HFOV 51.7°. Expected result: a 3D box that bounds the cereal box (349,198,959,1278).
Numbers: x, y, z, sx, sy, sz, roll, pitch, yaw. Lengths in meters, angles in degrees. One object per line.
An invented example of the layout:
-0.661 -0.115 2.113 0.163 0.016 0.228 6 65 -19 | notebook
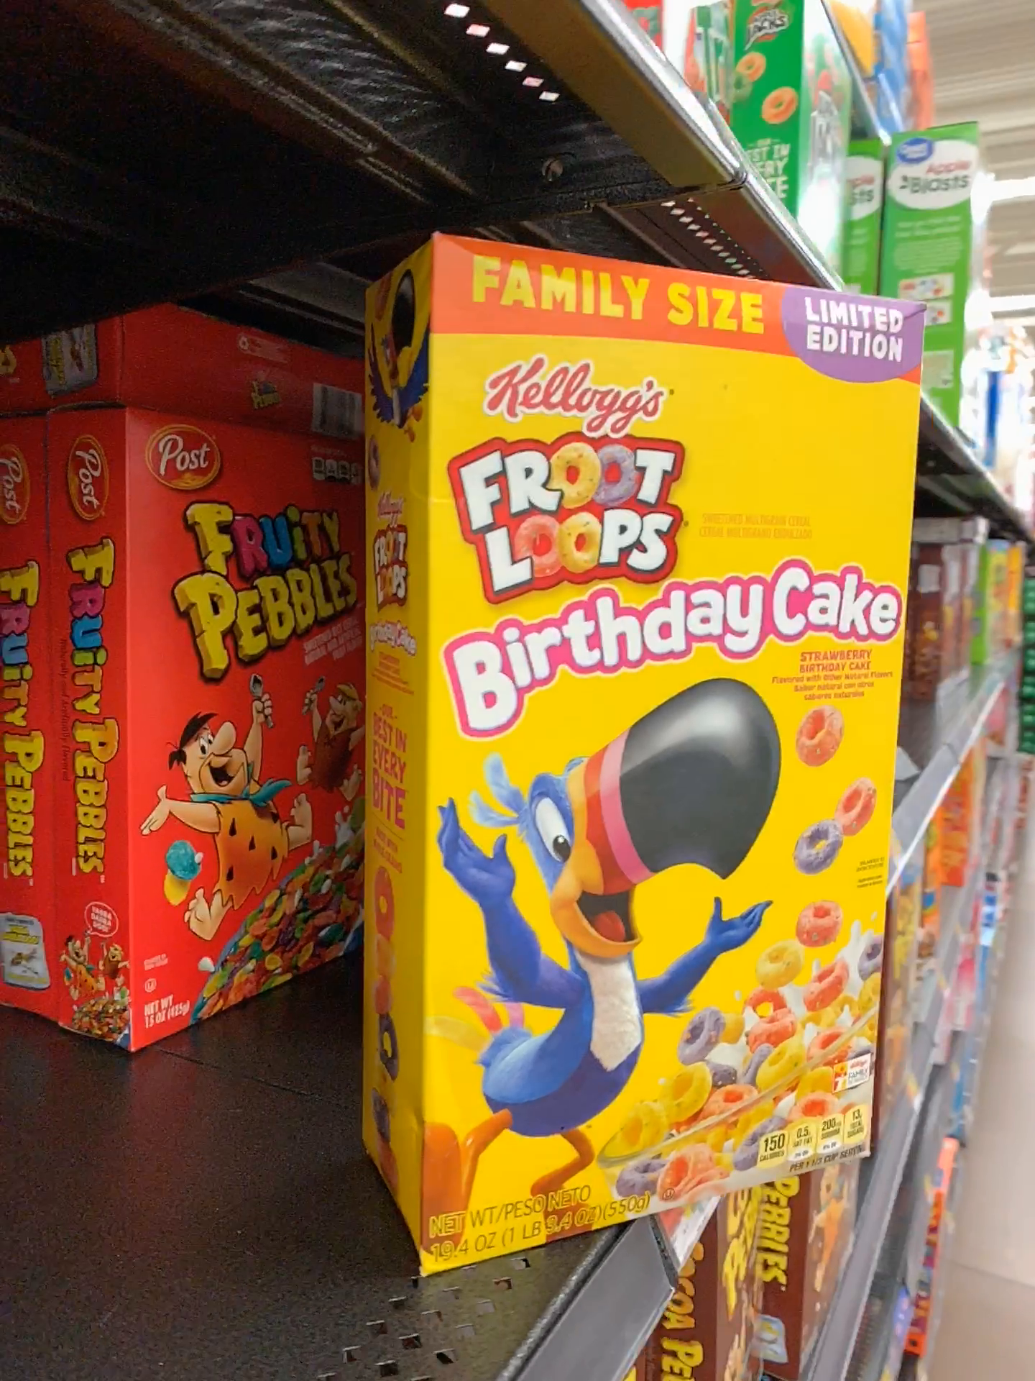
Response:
0.048 0.016 0.401 0.200 0.330 0.080 -1 6 -25 | cereal box
